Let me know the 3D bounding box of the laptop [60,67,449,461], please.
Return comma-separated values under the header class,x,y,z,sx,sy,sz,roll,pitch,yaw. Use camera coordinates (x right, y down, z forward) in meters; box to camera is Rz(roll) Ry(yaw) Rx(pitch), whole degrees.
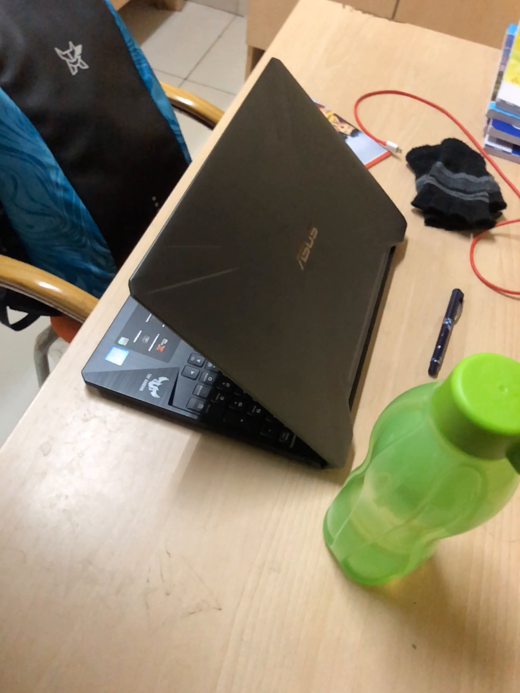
class,x,y,z,sx,sy,sz,roll,pitch,yaw
laptop,0.014,-0.102,0.571,0.247,0.147,0.340,18,54,7
